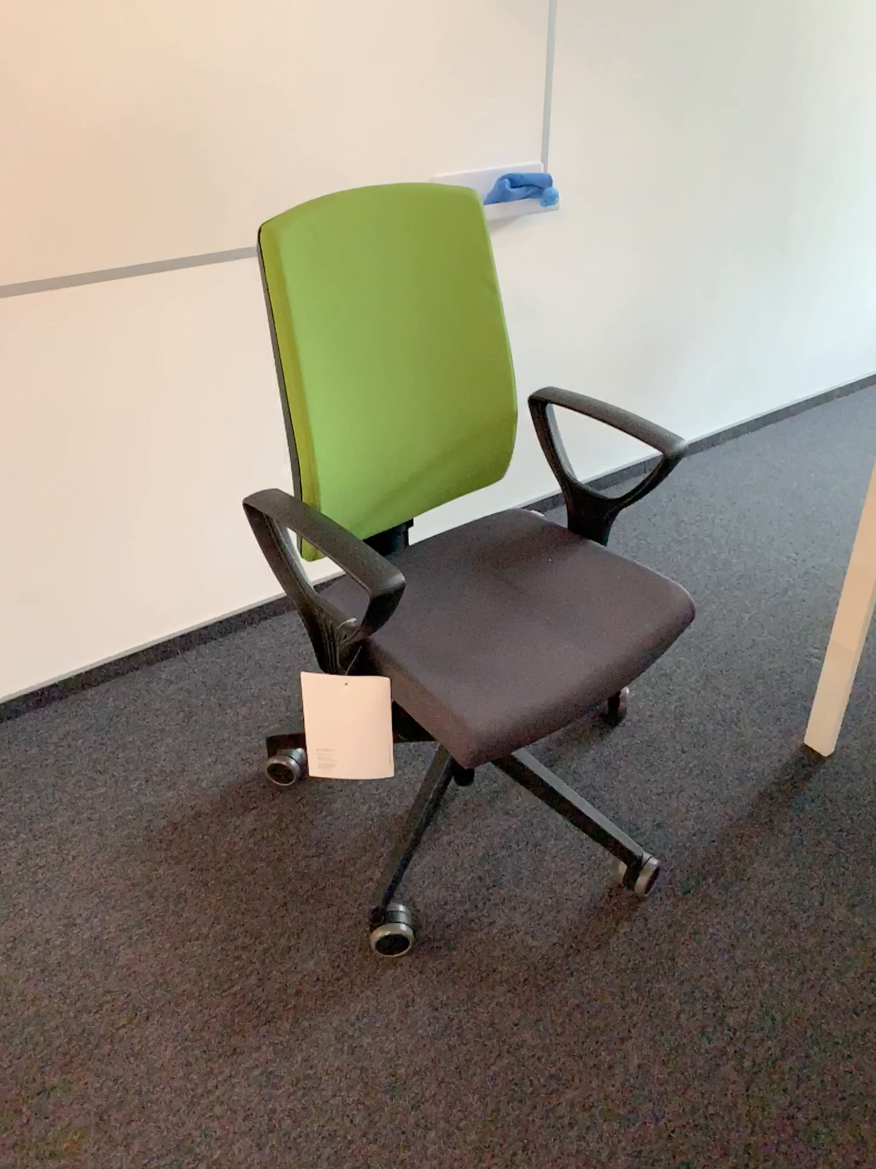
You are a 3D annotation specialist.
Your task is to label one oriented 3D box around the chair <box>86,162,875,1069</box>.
[{"bbox_3d":[0.082,-0.042,1.384,0.763,0.965,0.732,-27,41,-34],"label":"chair"}]
